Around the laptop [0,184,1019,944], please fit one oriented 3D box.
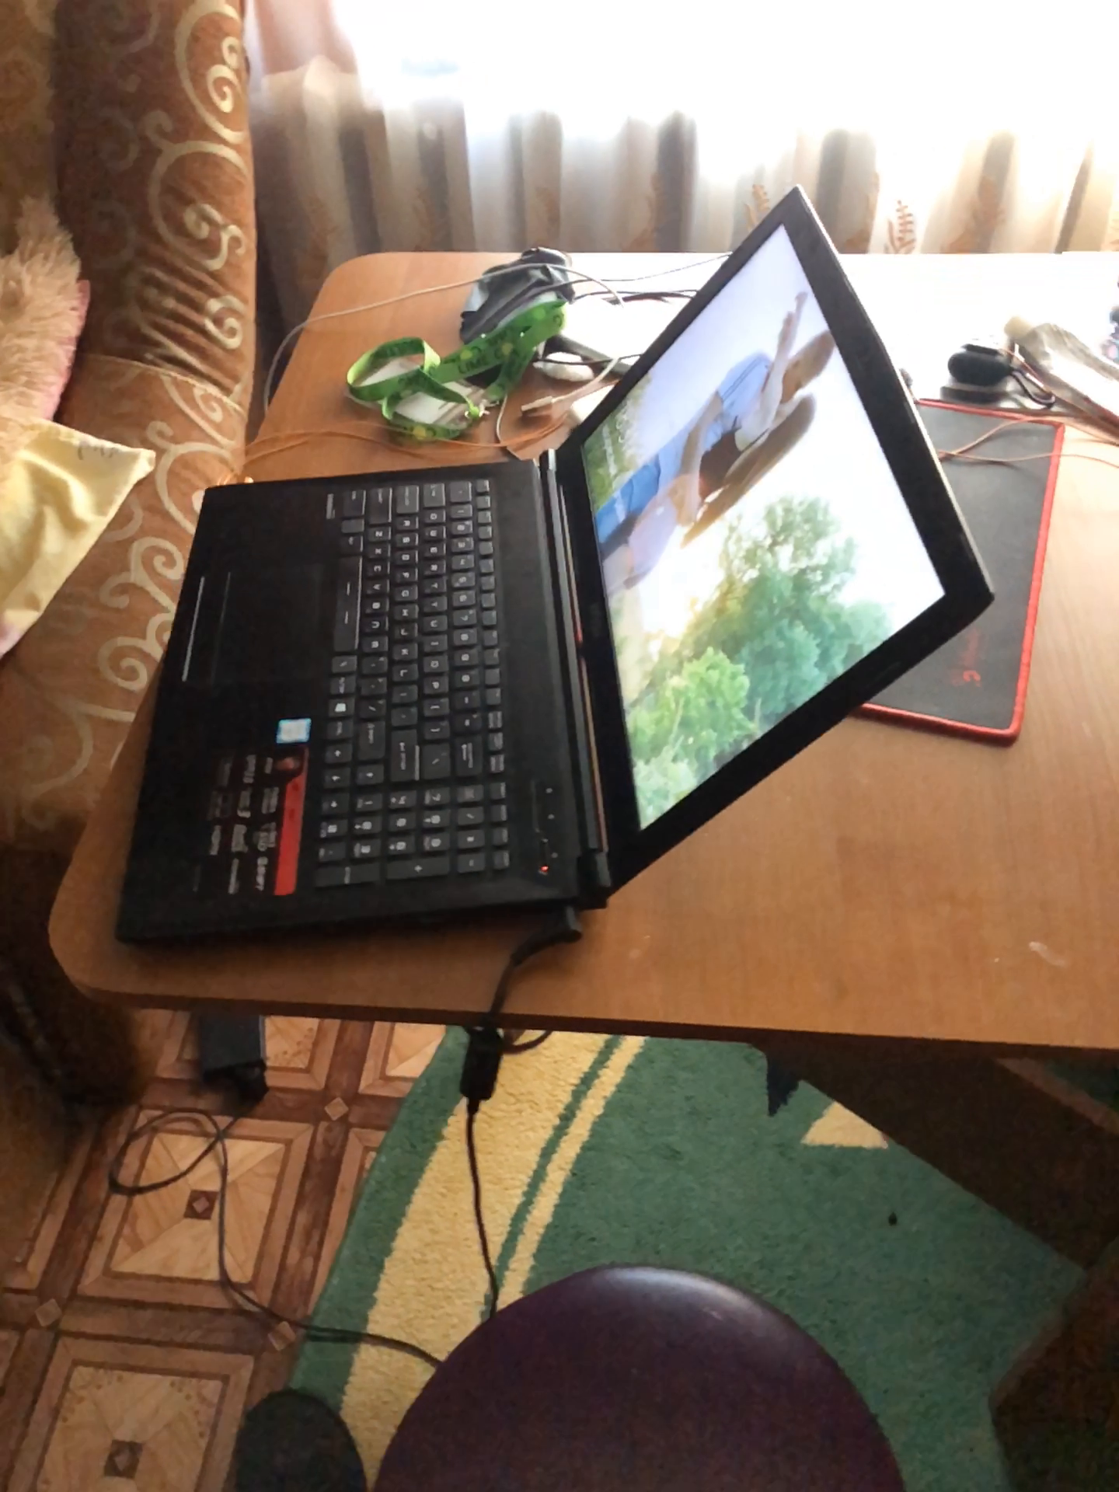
[{"bbox_3d":[-0.032,-0.120,0.677,0.409,0.174,0.375,-5,48,-1],"label":"laptop"}]
